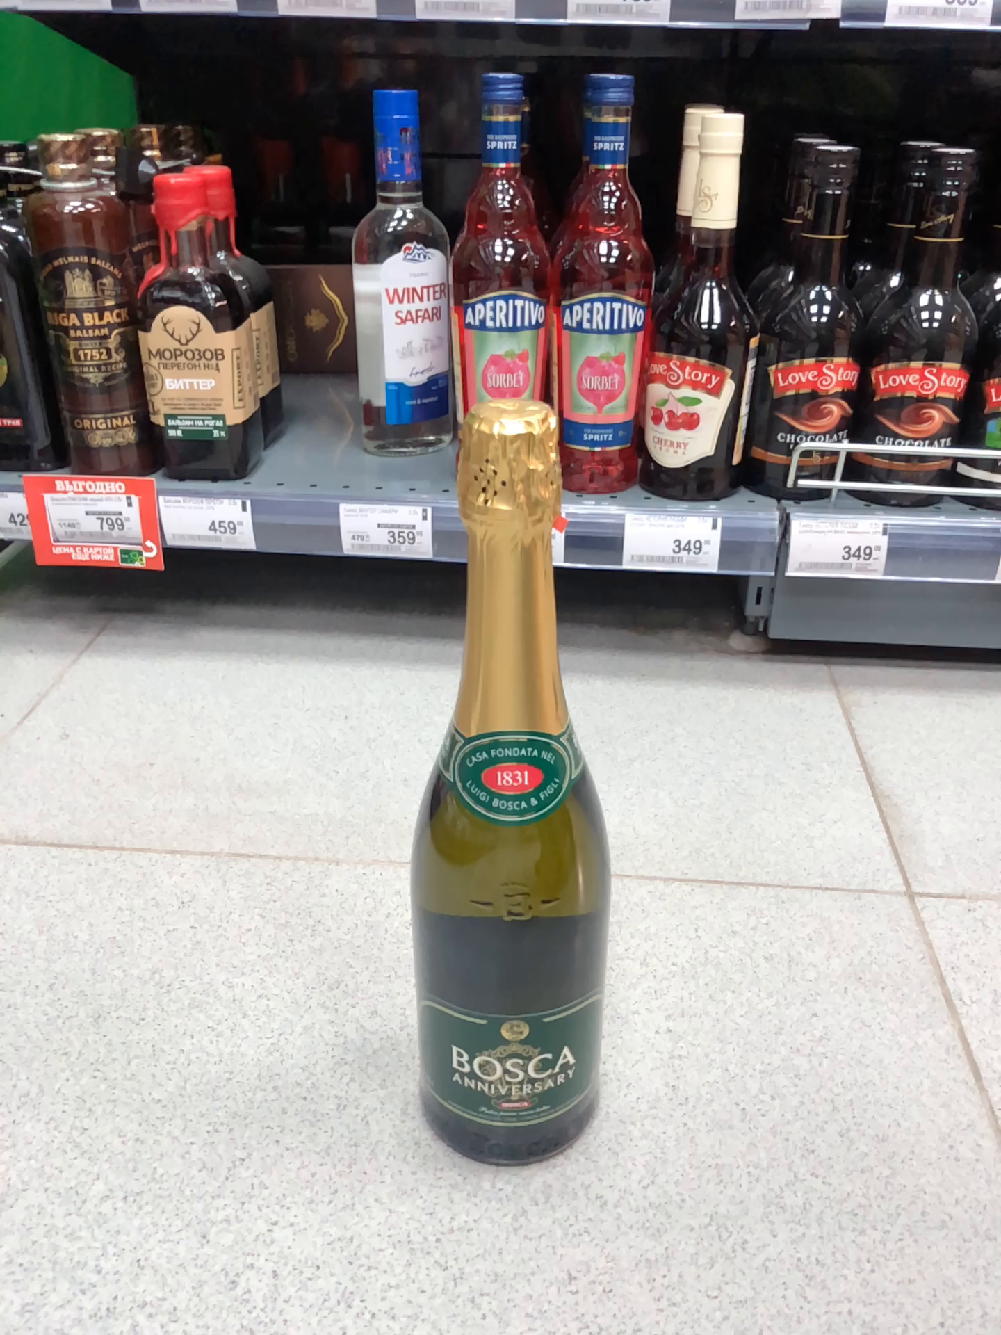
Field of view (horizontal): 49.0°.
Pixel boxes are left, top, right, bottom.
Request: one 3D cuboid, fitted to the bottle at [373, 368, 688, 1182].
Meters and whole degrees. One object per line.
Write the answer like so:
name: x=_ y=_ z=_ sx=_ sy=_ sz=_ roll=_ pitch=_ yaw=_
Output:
bottle: x=0.009 y=0.053 z=0.426 sx=0.090 sy=0.314 sz=0.091 roll=0 pitch=27 yaw=0
